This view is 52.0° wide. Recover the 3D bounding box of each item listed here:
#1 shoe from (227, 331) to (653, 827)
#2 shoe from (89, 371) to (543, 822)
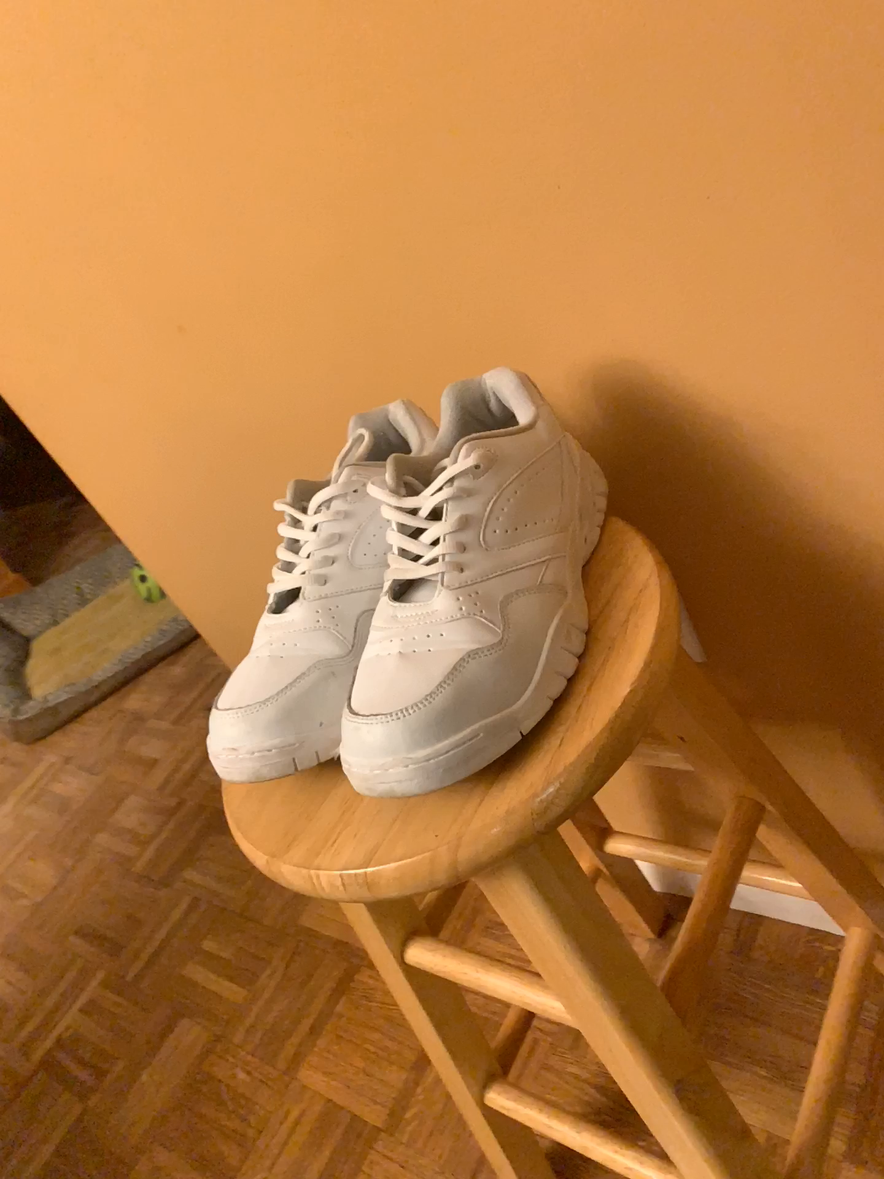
[{"bbox_3d":[0.019,-0.015,0.505,0.120,0.109,0.271,-11,36,33],"label":"shoe"},{"bbox_3d":[-0.062,-0.006,0.571,0.131,0.109,0.270,-5,39,39],"label":"shoe"}]
